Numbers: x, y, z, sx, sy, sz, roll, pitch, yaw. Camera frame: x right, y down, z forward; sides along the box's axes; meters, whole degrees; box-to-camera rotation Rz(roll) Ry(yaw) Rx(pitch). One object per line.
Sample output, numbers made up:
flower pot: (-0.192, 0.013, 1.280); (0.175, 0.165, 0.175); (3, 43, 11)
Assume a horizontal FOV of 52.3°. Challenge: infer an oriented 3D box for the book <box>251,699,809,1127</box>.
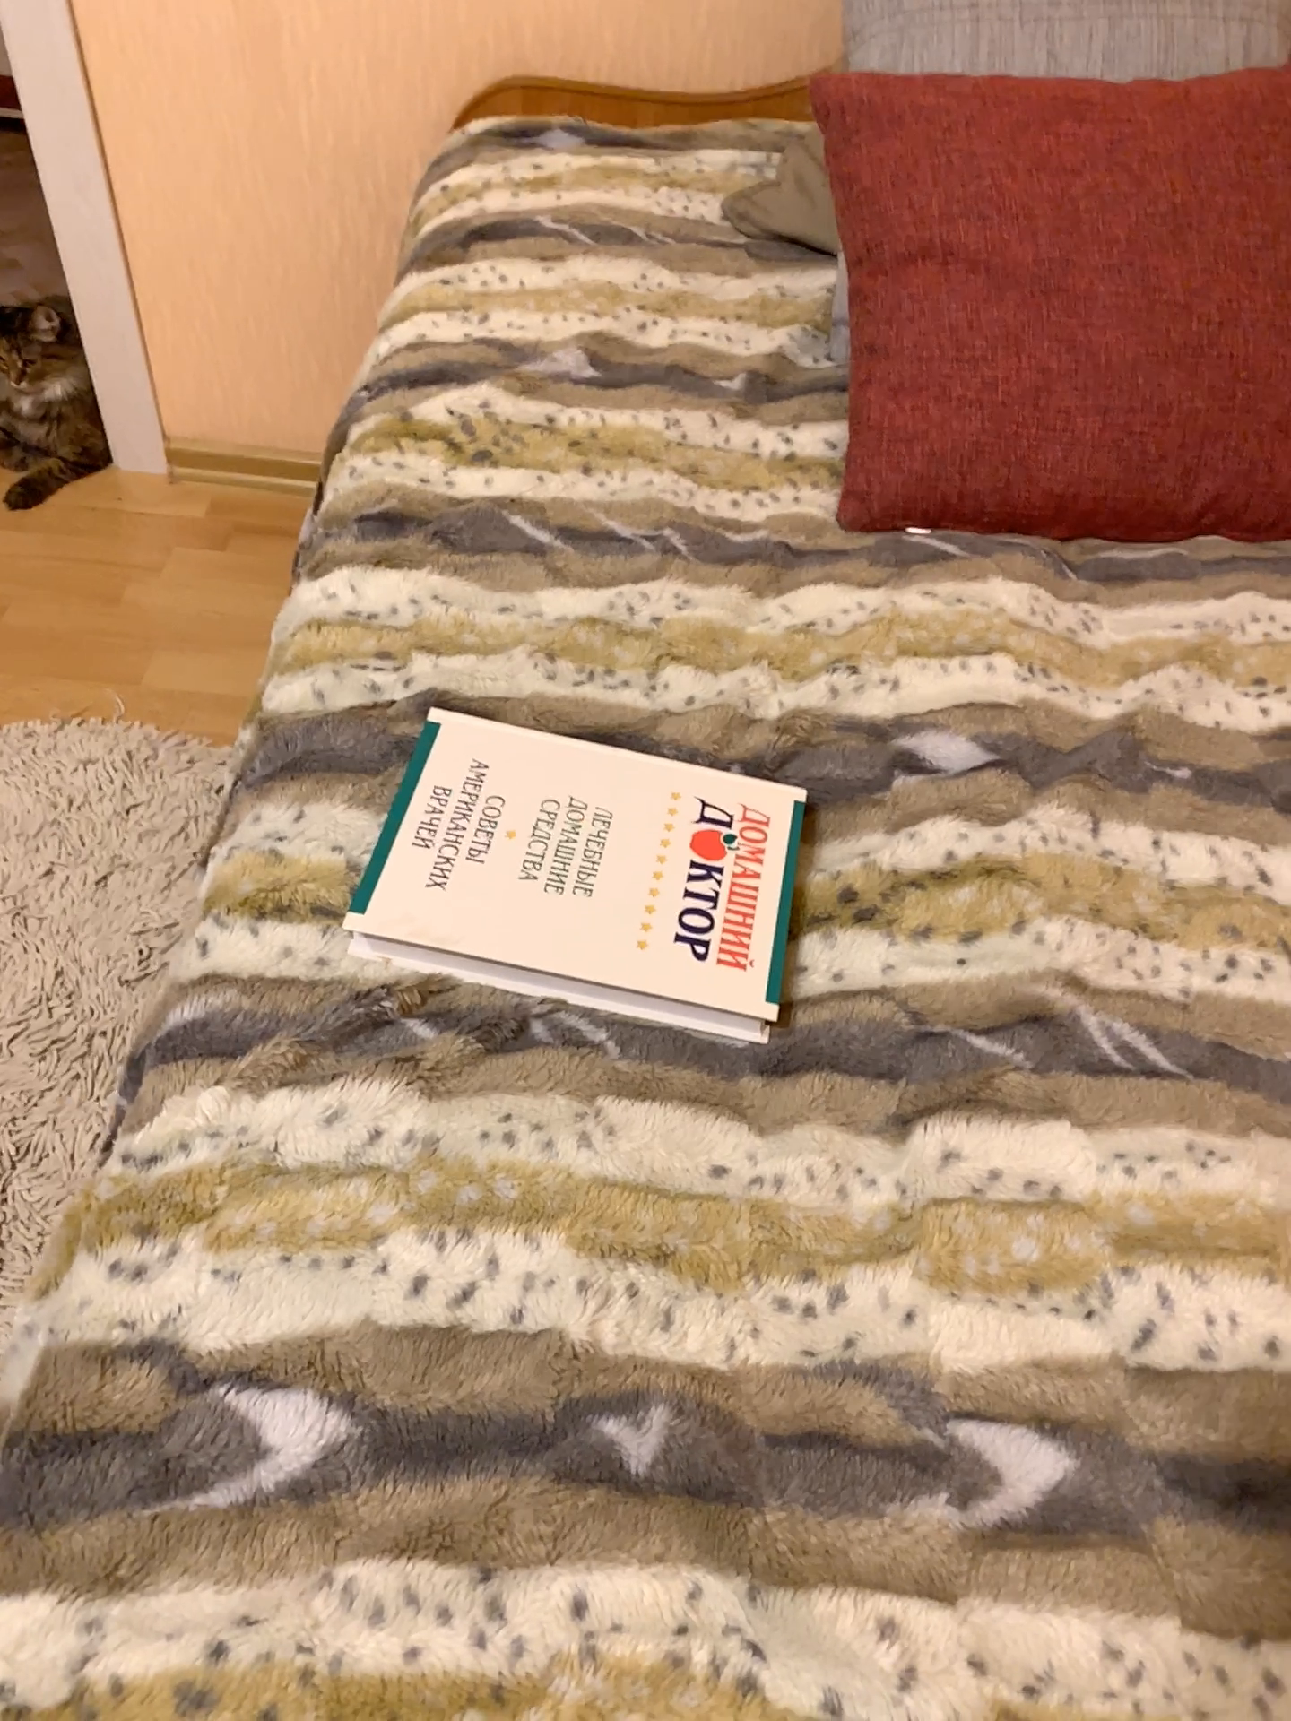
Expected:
book: (-0.048, 0.018, 0.675); (0.240, 0.040, 0.191); (11, 50, 3)
